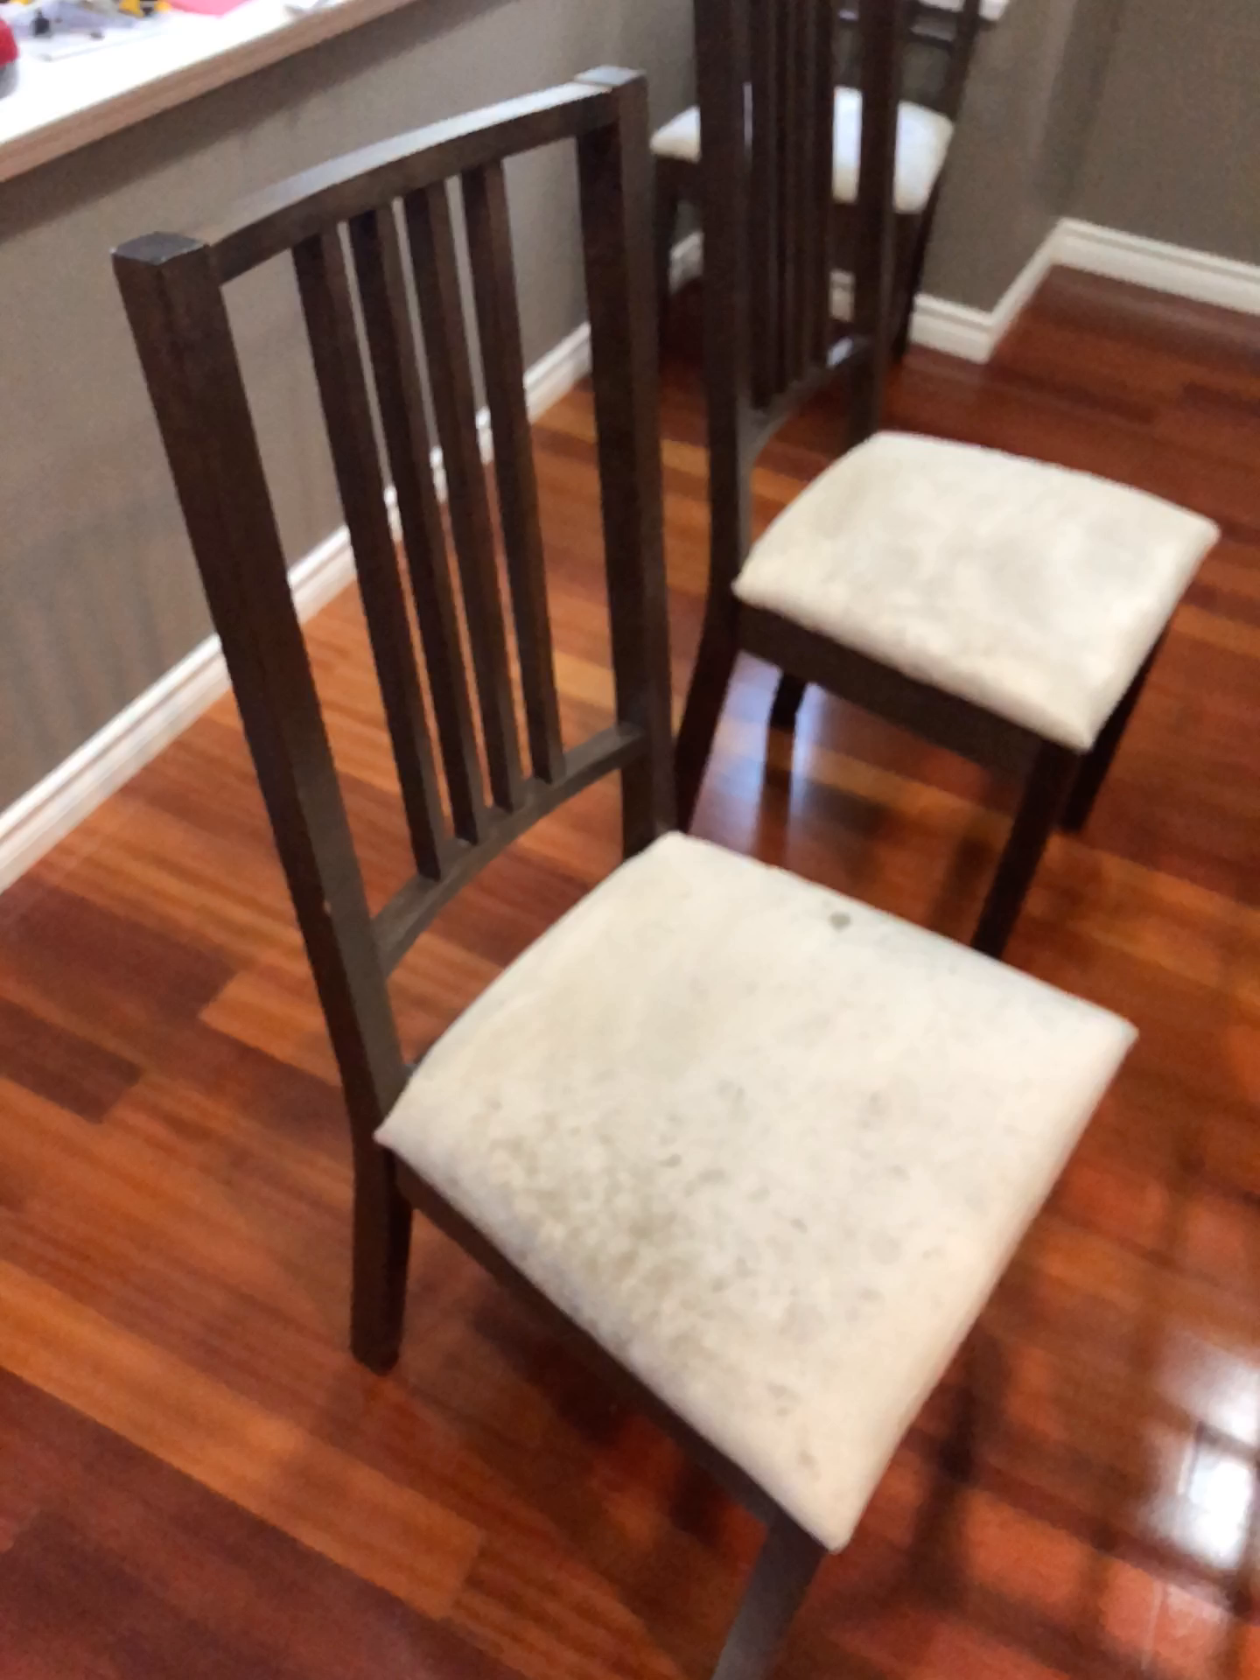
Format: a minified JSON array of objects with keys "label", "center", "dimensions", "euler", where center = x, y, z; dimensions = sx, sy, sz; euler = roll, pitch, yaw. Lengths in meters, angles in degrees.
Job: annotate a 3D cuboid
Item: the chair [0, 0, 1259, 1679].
[{"label":"chair","center":[0.070,0.063,0.938],"dimensions":[0.541,0.993,0.593],"euler":[27,49,20]}]
